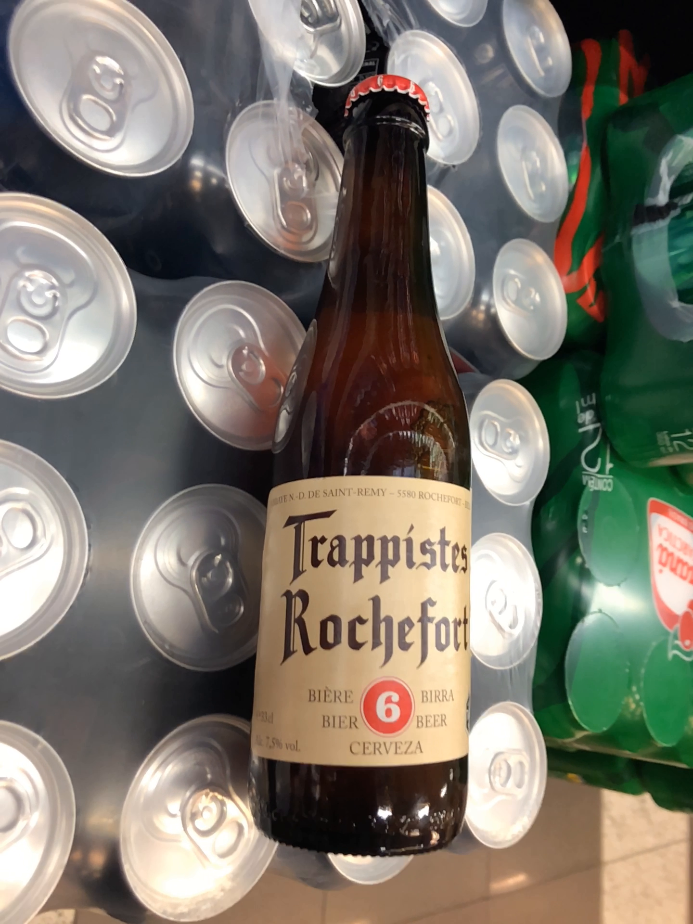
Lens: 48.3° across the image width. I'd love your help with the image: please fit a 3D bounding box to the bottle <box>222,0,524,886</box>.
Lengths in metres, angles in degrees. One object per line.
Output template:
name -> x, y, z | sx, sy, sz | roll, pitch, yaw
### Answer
bottle -> 0.012, -0.019, 0.227 | 0.060, 0.050, 0.240 | 13, 75, -40
